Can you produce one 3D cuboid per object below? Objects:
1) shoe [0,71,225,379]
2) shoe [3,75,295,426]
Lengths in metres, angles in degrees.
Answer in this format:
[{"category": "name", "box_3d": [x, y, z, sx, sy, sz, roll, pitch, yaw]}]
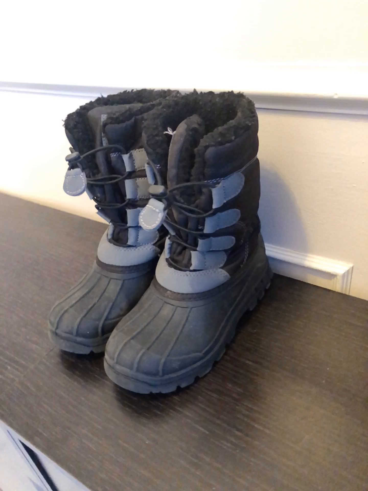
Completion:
[{"category": "shoe", "box_3d": [-0.067, -0.035, 0.406, 0.100, 0.208, 0.221, 18, 42, 33]}, {"category": "shoe", "box_3d": [0.001, -0.012, 0.360, 0.100, 0.208, 0.221, 18, 42, 33]}]
